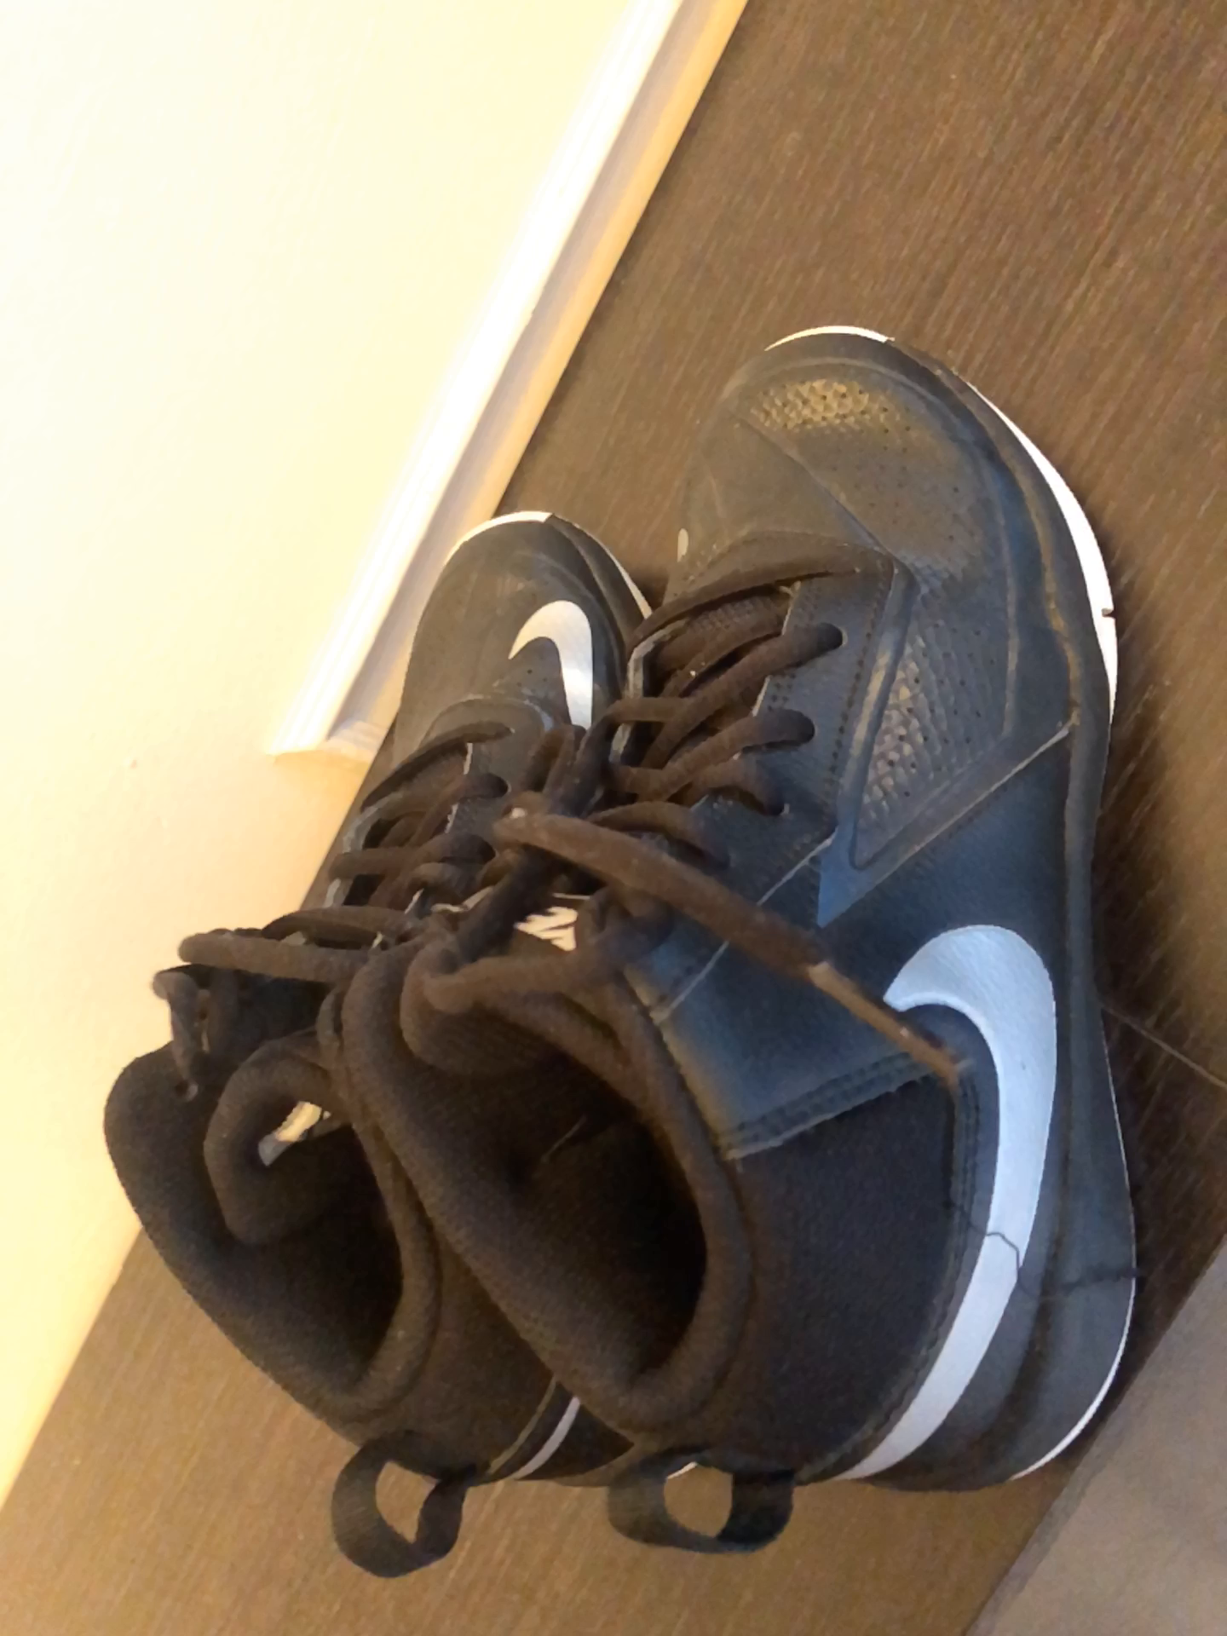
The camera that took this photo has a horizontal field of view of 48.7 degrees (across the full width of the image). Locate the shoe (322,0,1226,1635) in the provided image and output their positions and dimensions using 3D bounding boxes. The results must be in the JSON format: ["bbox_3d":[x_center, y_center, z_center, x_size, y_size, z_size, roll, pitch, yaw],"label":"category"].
[{"bbox_3d":[0.034,-0.004,0.245,0.100,0.129,0.250,-20,64,39],"label":"shoe"}]

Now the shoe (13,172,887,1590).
[{"bbox_3d":[-0.041,0.015,0.307,0.100,0.129,0.261,-26,60,37],"label":"shoe"}]
